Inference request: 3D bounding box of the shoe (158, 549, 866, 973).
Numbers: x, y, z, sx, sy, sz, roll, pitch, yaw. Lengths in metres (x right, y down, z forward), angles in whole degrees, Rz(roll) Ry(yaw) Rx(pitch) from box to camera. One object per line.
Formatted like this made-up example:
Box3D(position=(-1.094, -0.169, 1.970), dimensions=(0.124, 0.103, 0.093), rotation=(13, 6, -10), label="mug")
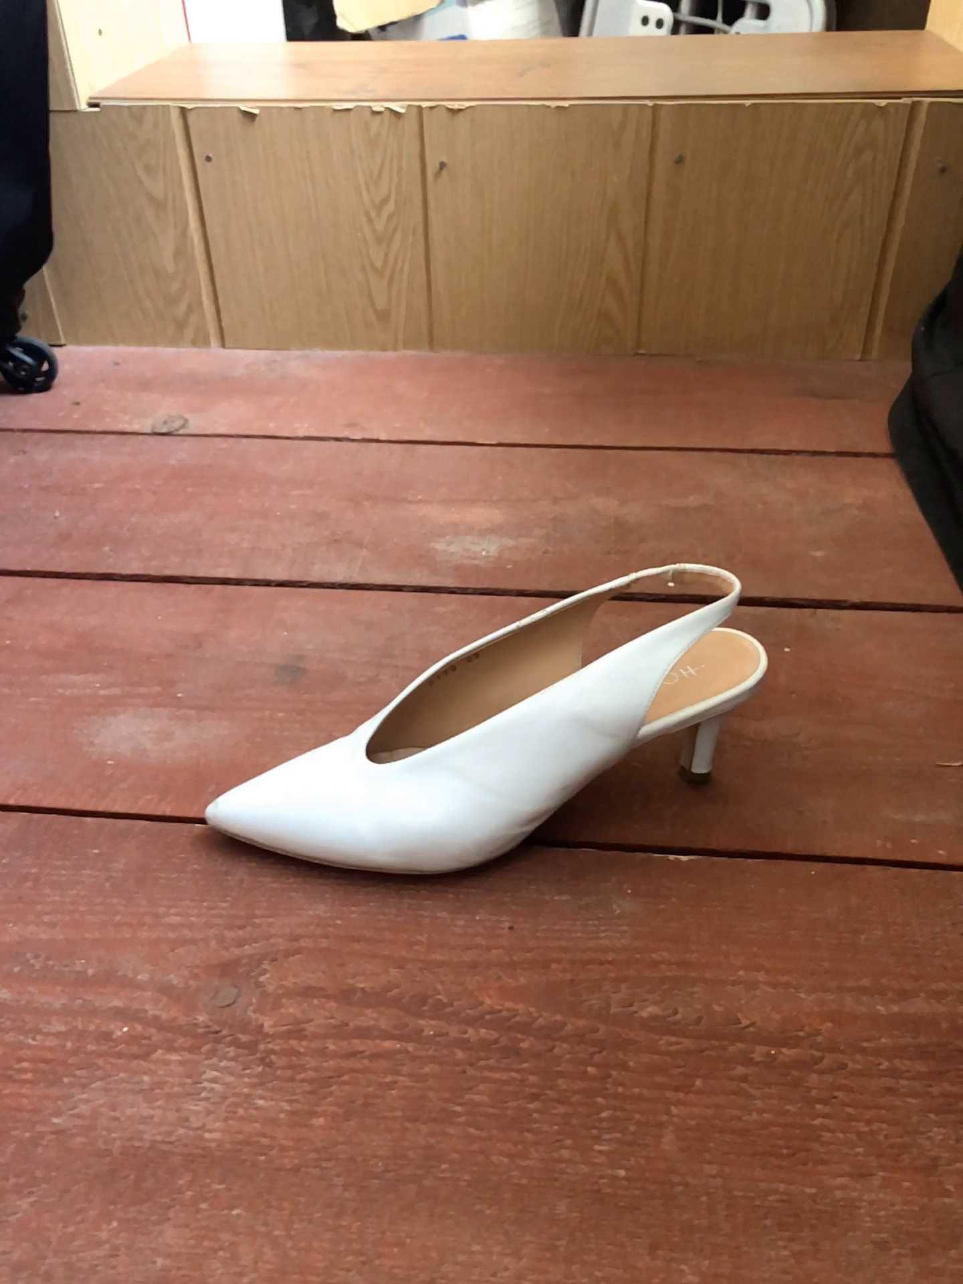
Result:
Box3D(position=(0.007, 0.039, 0.417), dimensions=(0.240, 0.080, 0.100), rotation=(-9, 36, -9), label="shoe")
